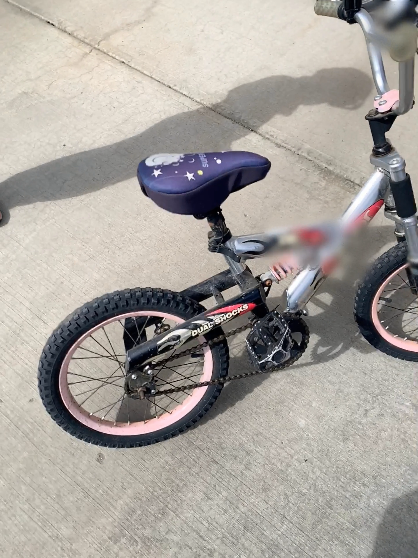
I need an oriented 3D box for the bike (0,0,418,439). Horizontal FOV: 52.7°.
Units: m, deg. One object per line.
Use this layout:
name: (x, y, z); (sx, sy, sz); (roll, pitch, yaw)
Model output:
bike: (0.185, -0.122, 0.847); (1.123, 0.692, 0.359); (-14, 57, -14)
